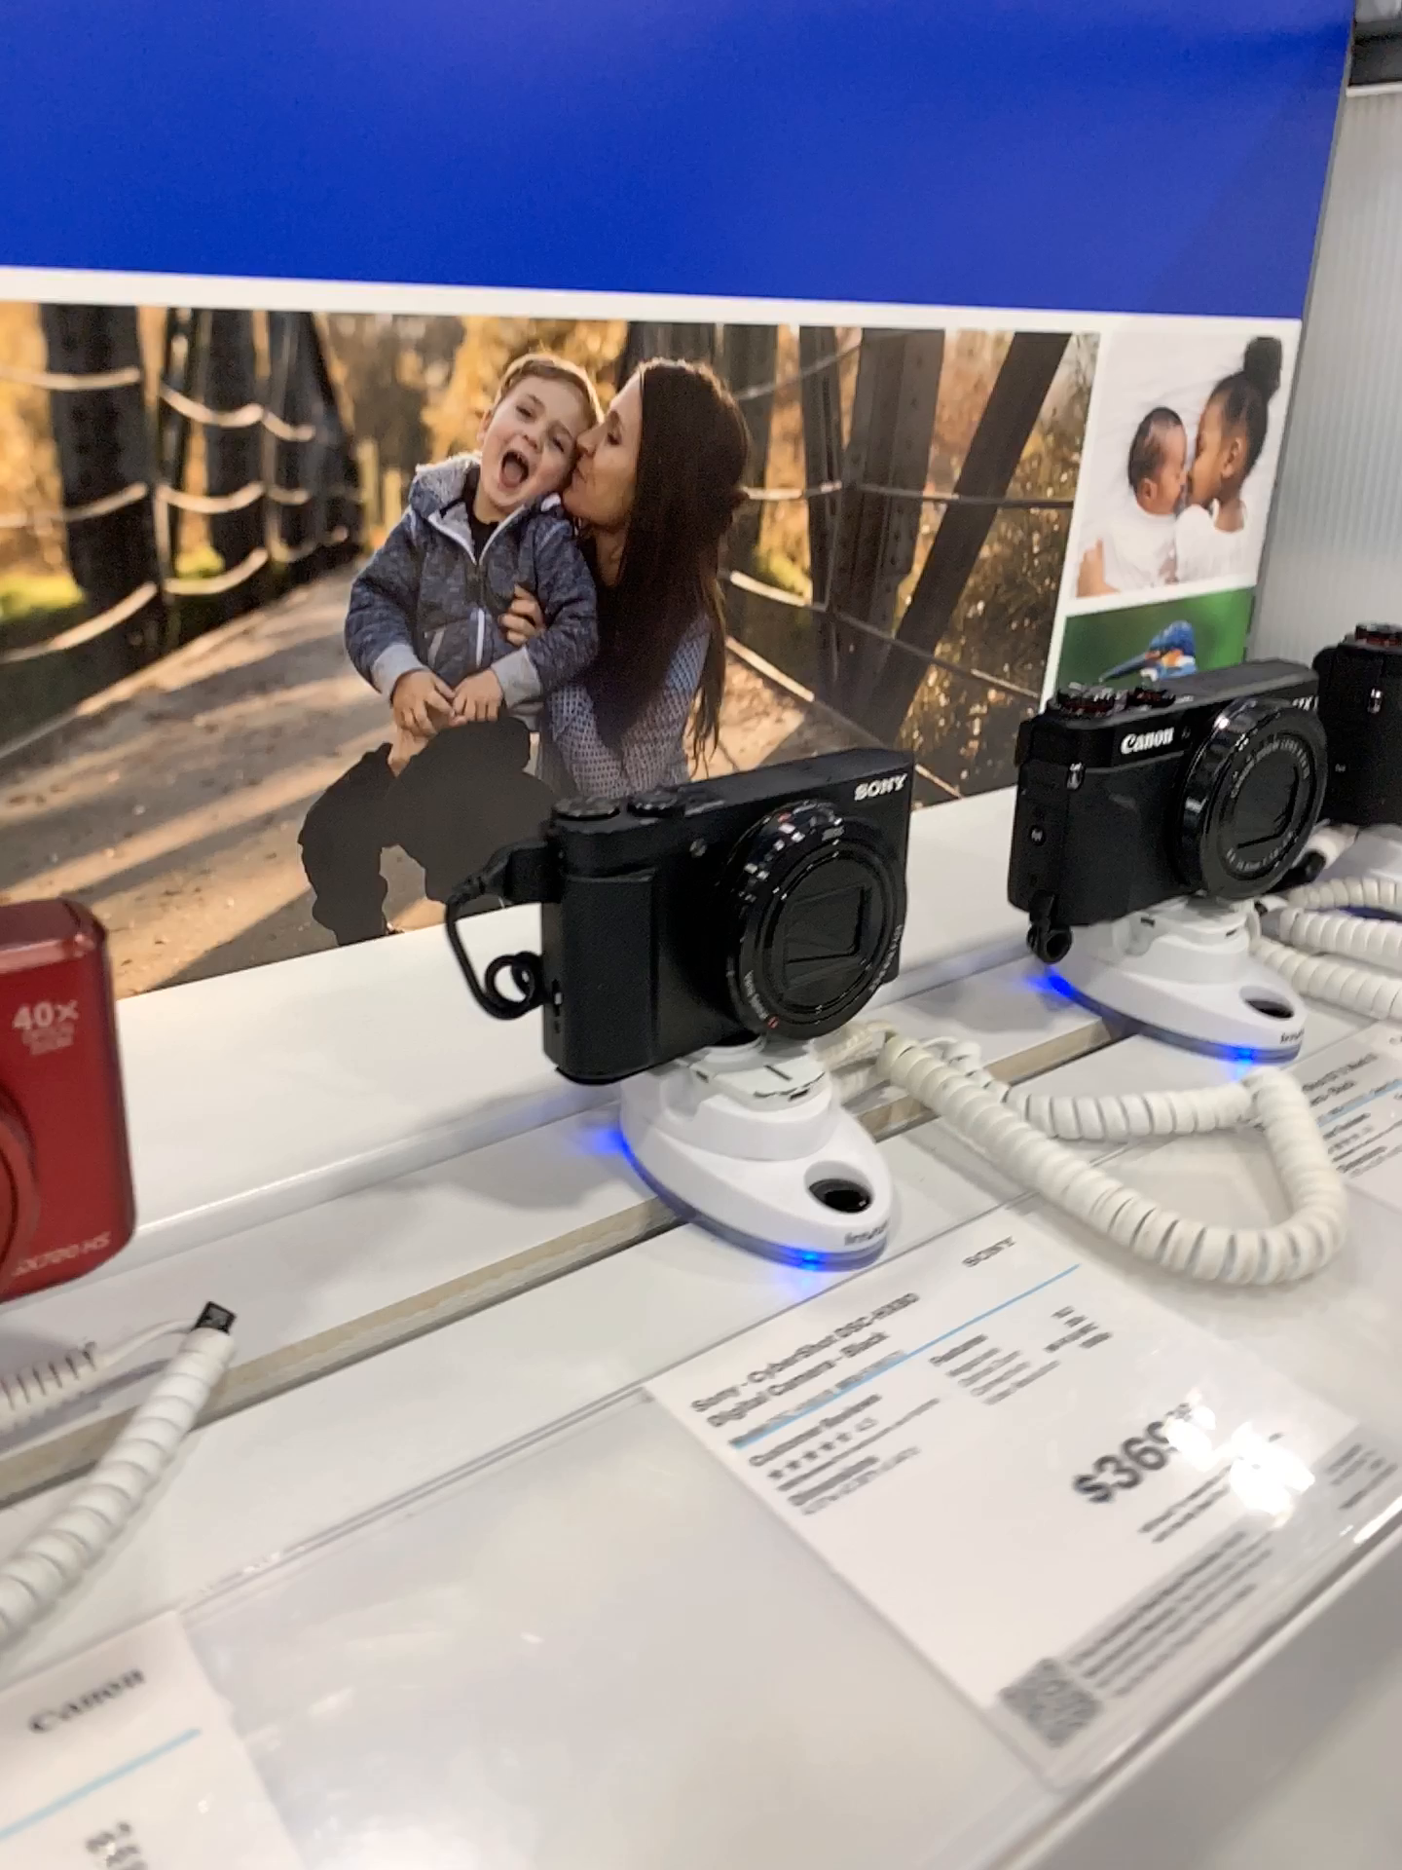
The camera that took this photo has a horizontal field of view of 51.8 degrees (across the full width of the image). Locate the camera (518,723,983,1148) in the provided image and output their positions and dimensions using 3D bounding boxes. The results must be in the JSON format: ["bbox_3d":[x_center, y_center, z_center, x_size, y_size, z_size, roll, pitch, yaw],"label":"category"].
[{"bbox_3d":[0.014,-0.004,0.337,0.110,0.070,0.030,-16,28,-34],"label":"camera"}]
